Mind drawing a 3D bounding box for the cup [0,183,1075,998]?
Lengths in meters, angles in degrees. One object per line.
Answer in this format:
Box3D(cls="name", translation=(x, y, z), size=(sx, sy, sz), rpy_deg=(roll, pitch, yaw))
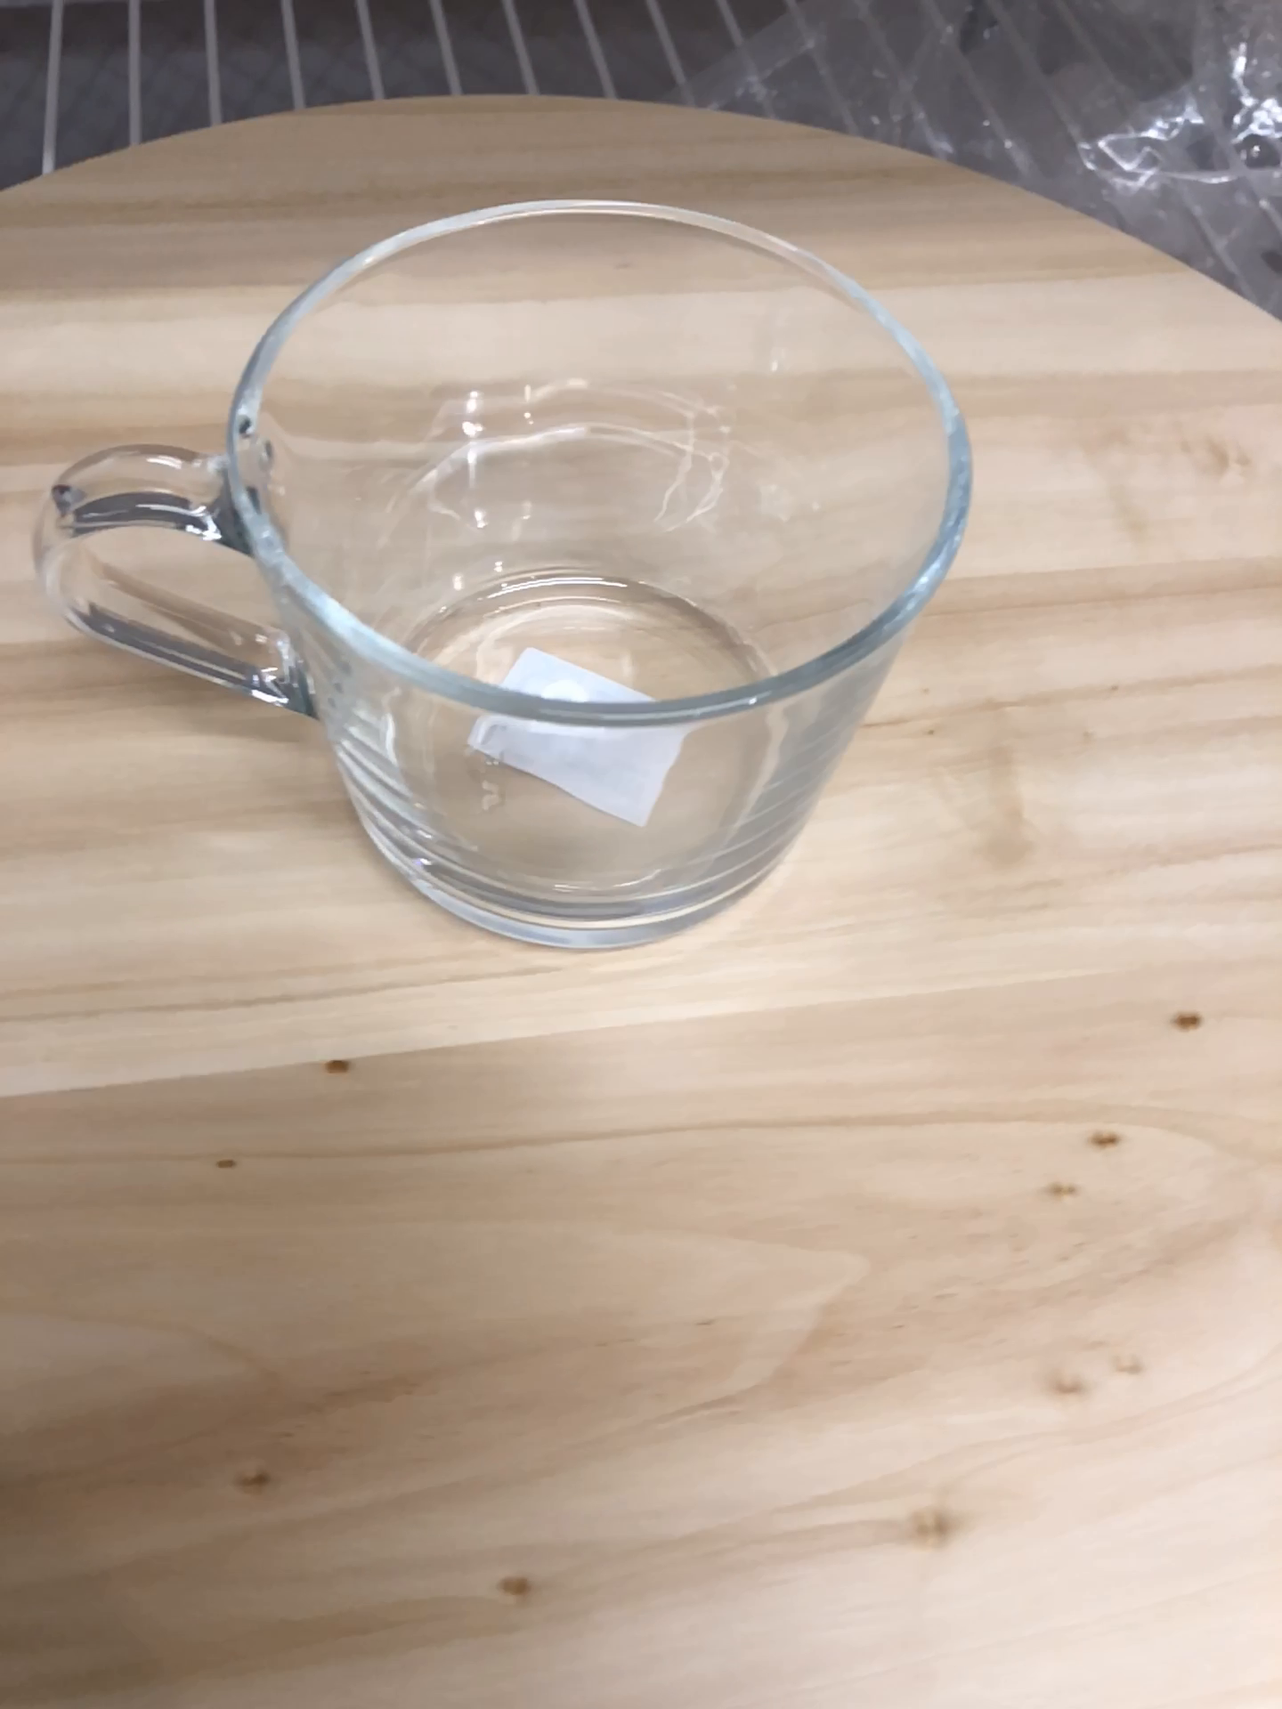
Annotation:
Box3D(cls="cup", translation=(-0.018, -0.035, 0.195), size=(0.120, 0.060, 0.090), rpy_deg=(0, 57, -4))
